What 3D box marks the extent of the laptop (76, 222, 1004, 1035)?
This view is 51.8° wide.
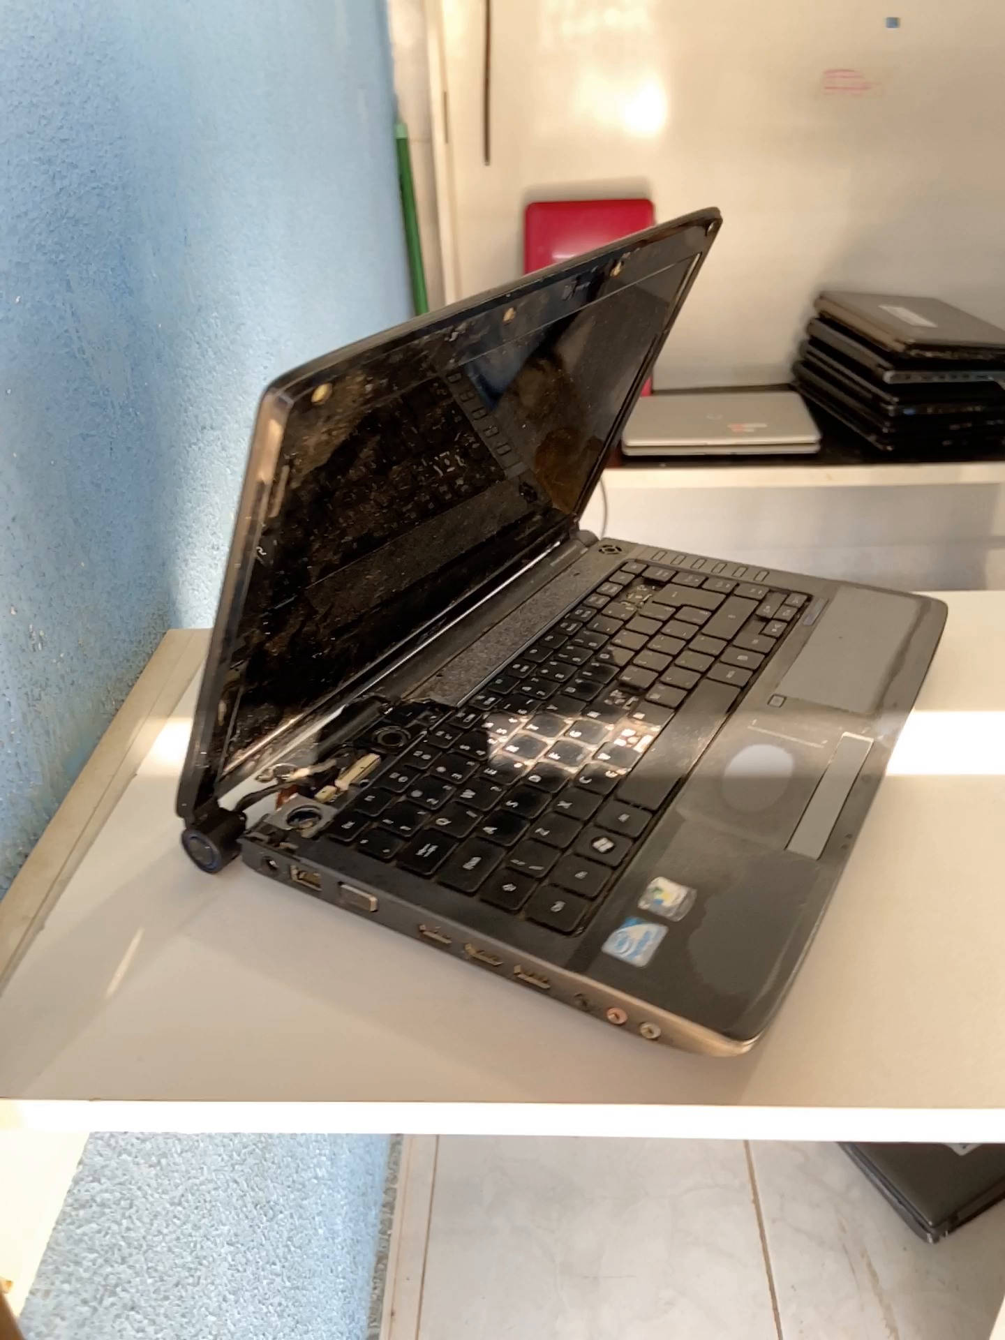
[{"bbox_3d":[0.055,-0.068,0.448,0.228,0.182,0.335,15,34,27],"label":"laptop"}]
